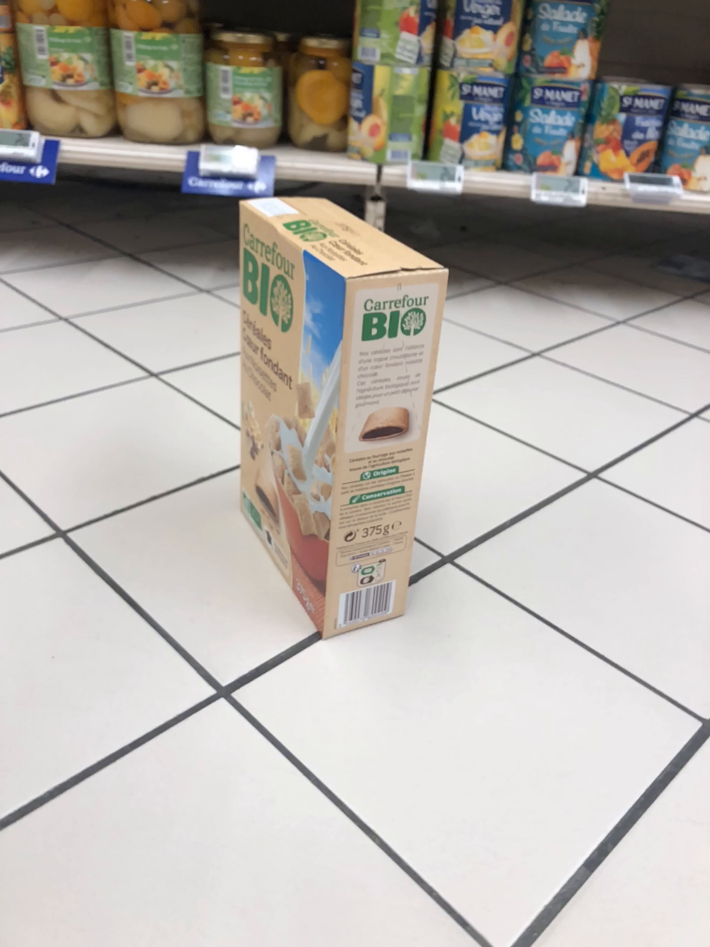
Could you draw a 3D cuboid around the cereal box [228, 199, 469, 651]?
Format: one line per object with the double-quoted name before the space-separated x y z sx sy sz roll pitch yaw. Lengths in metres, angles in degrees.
"cereal box" -0.020 -0.038 0.503 0.070 0.229 0.170 -10 33 -25
